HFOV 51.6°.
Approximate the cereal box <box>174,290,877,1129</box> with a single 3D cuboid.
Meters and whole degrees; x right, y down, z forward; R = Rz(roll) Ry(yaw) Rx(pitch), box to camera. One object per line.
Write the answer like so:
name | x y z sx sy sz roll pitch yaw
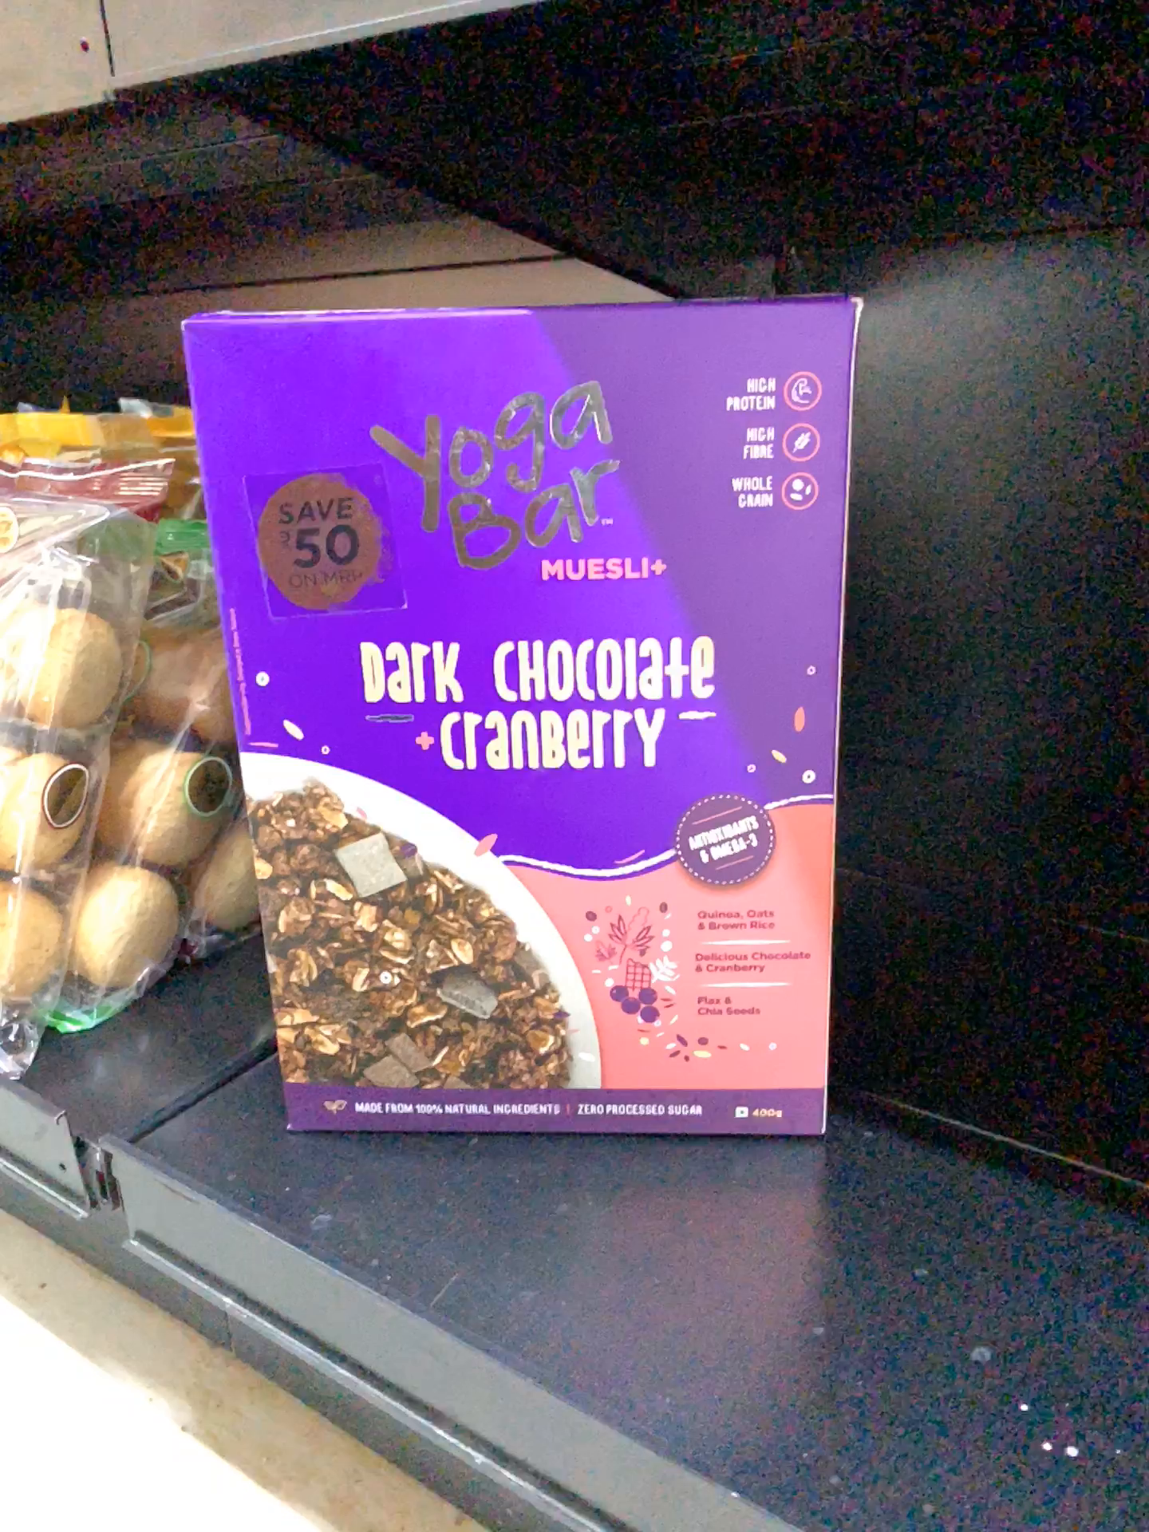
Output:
cereal box | -0.010 -0.012 0.344 0.170 0.229 0.050 1 18 4
